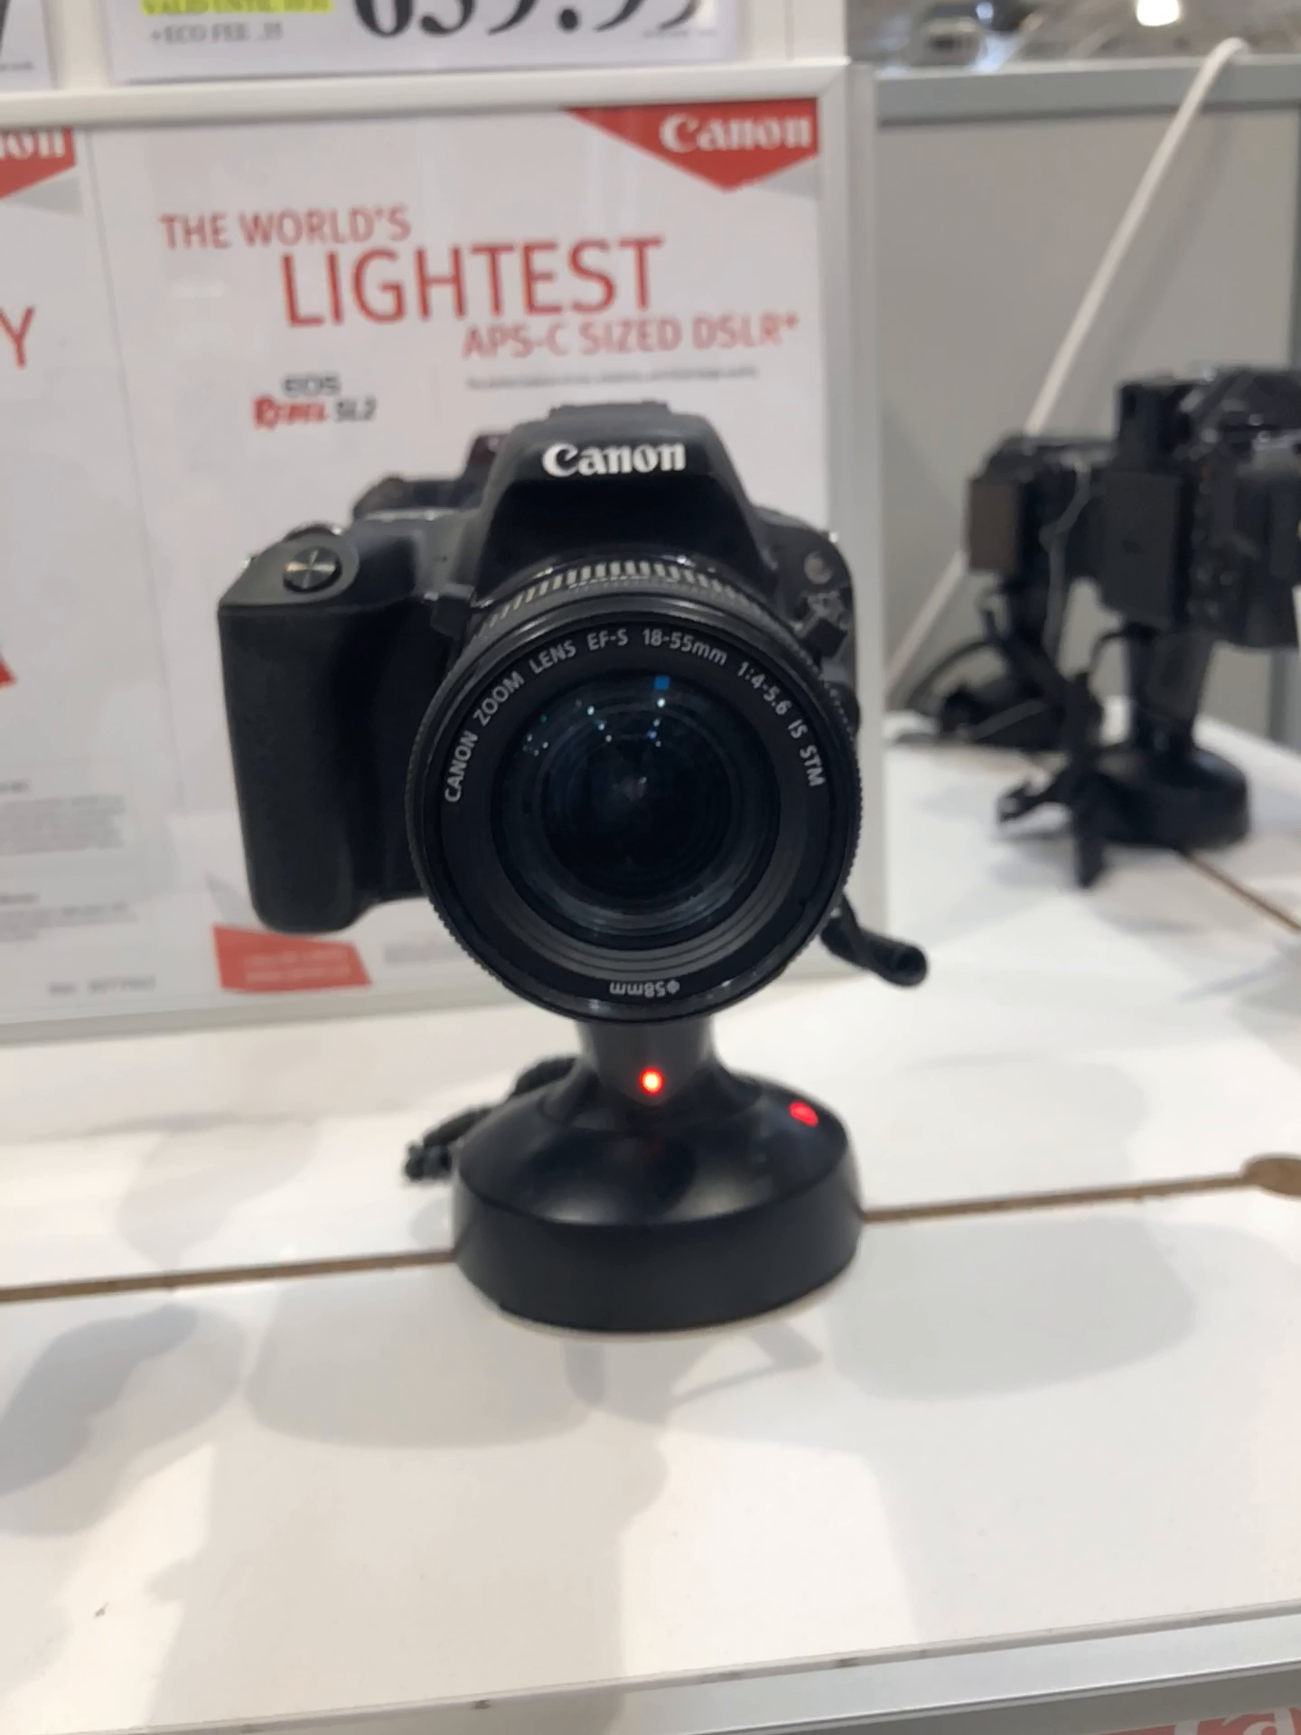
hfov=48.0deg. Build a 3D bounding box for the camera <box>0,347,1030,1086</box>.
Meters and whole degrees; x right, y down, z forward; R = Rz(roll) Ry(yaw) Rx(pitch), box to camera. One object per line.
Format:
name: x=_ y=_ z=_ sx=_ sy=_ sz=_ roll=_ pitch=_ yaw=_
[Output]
camera: x=-0.019 y=-0.034 z=0.249 sx=0.130 sy=0.090 sz=0.121 roll=-4 pitch=16 yaw=-3
